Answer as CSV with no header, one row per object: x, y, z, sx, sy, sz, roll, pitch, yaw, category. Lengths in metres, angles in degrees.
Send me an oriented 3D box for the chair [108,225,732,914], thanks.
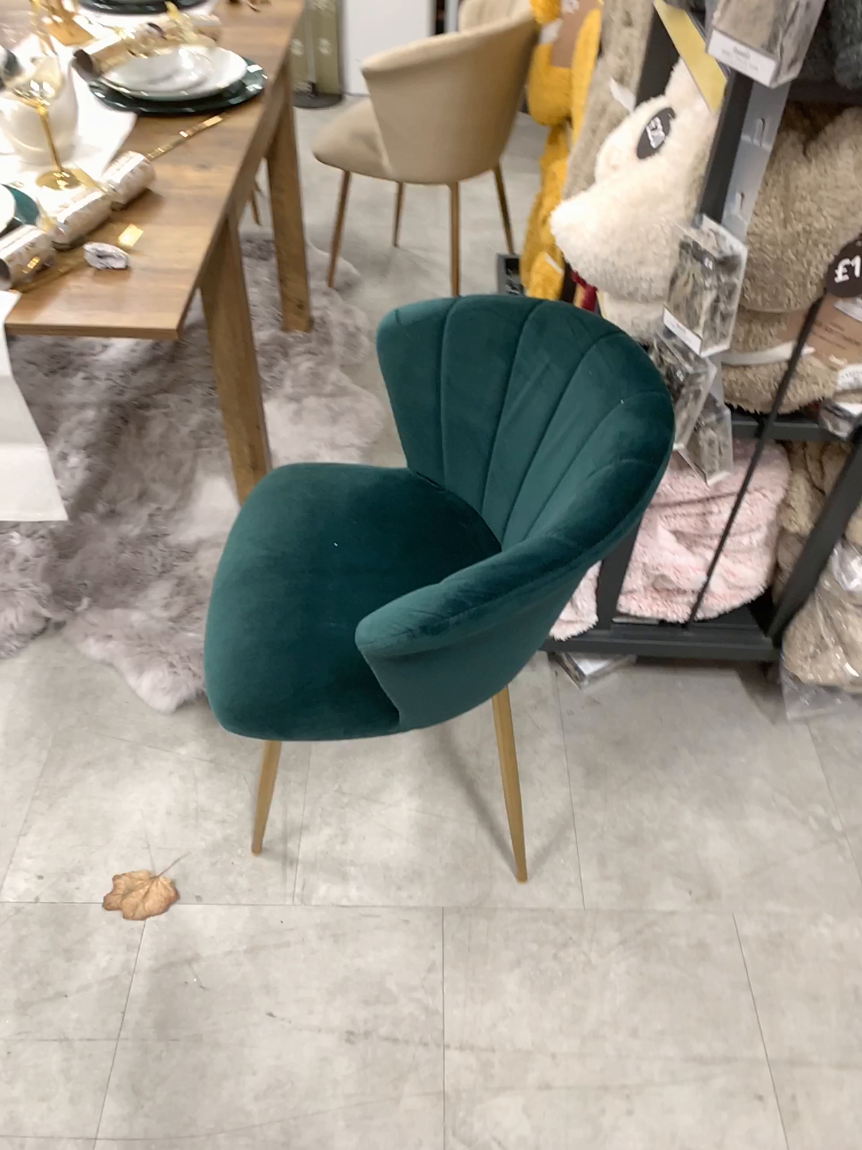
-0.003,0.024,1.191,0.524,0.754,0.545,3,47,2,chair
